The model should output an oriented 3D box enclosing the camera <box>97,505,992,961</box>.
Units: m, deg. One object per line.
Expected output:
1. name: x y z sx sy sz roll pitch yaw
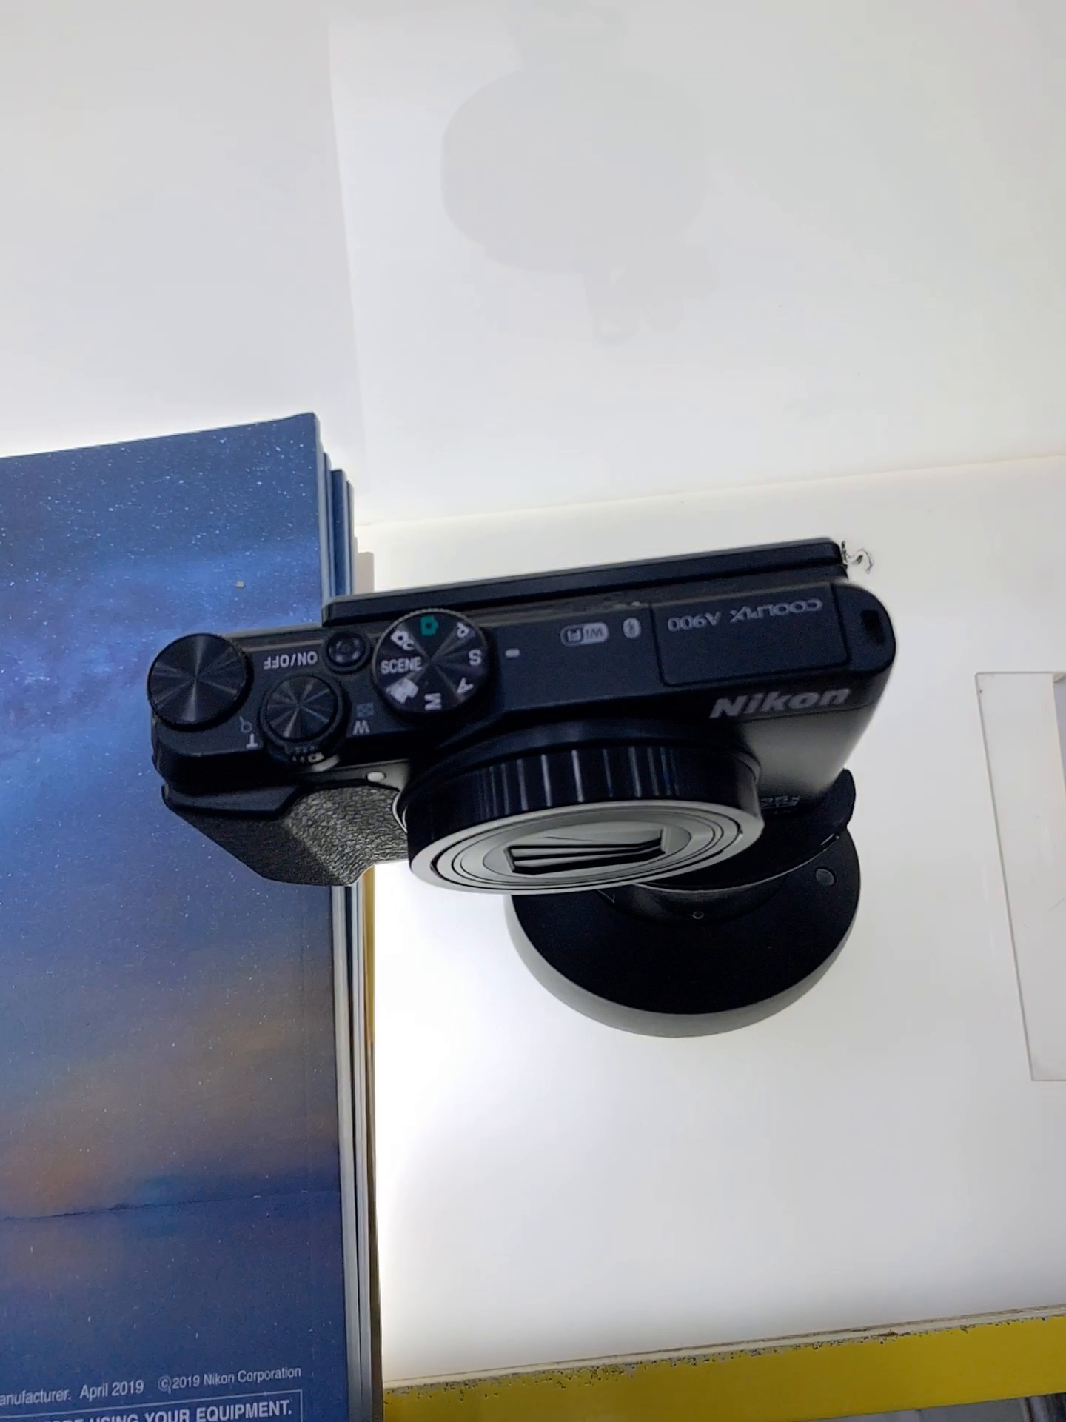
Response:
1. camera: 0.000 0.008 0.182 0.120 0.060 0.040 -8 68 -1
